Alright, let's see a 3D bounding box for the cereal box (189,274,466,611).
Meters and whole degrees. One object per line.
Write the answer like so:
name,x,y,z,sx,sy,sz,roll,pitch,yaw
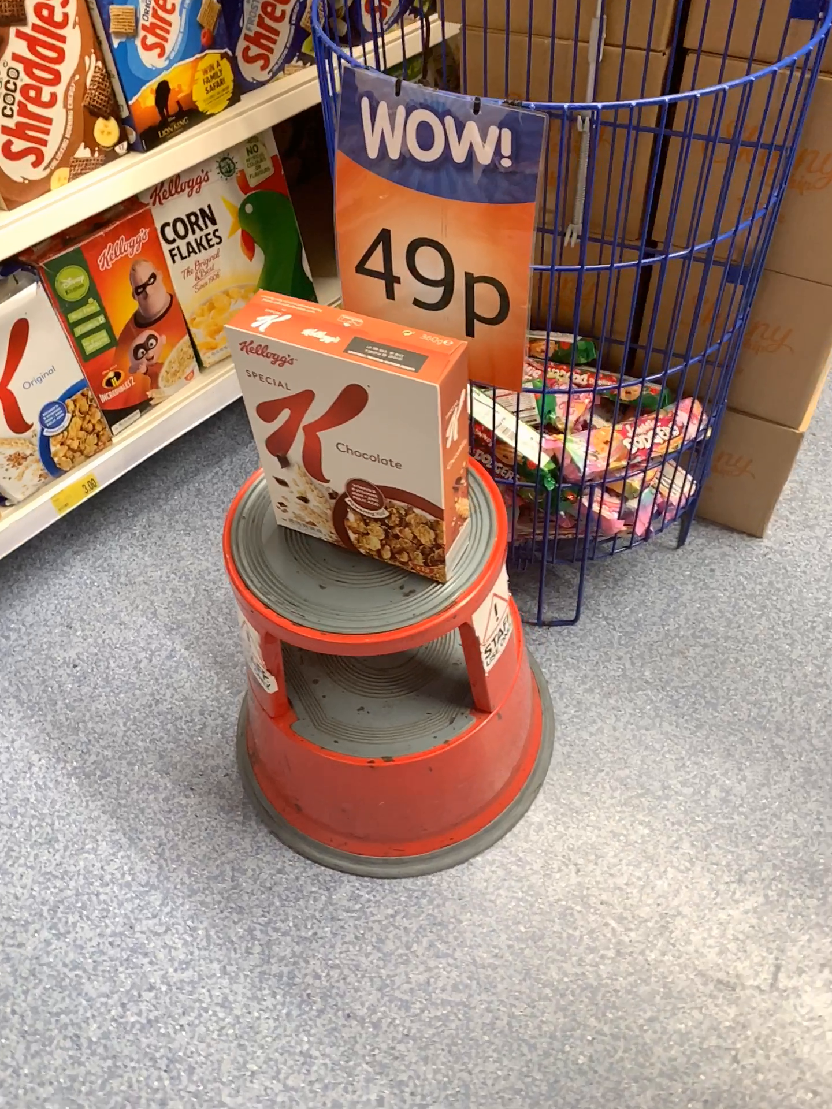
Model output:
cereal box,-0.064,-0.089,0.746,0.211,0.268,0.060,20,54,20
